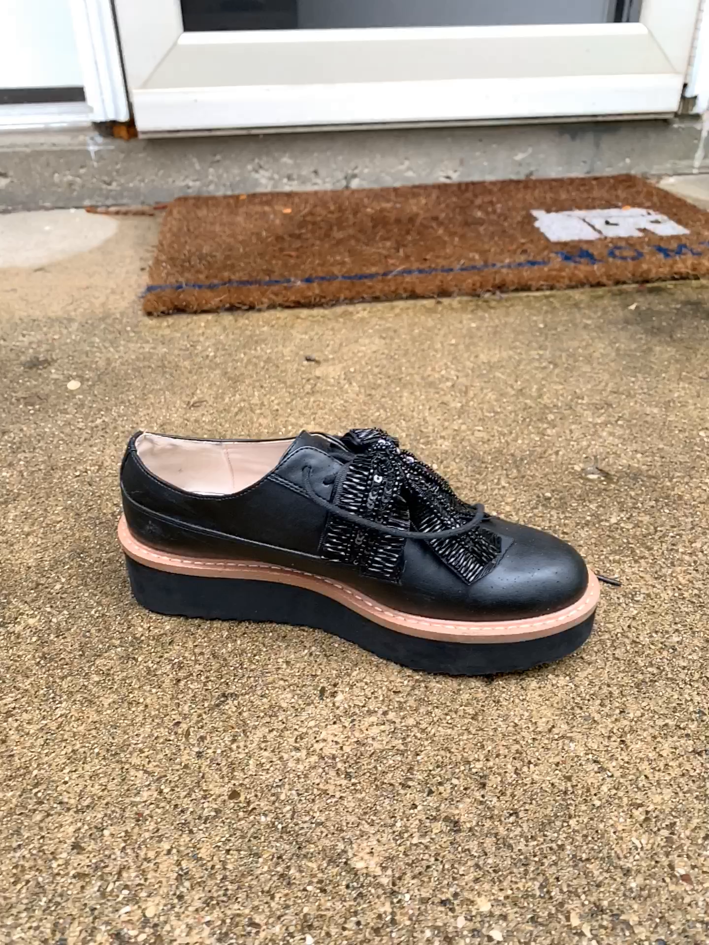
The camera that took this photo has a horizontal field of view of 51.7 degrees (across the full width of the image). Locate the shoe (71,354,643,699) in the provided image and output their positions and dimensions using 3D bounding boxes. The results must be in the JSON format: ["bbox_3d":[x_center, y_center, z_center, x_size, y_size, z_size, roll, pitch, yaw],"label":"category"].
[{"bbox_3d":[0.003,0.022,0.400,0.258,0.120,0.107,6,34,10],"label":"shoe"}]
